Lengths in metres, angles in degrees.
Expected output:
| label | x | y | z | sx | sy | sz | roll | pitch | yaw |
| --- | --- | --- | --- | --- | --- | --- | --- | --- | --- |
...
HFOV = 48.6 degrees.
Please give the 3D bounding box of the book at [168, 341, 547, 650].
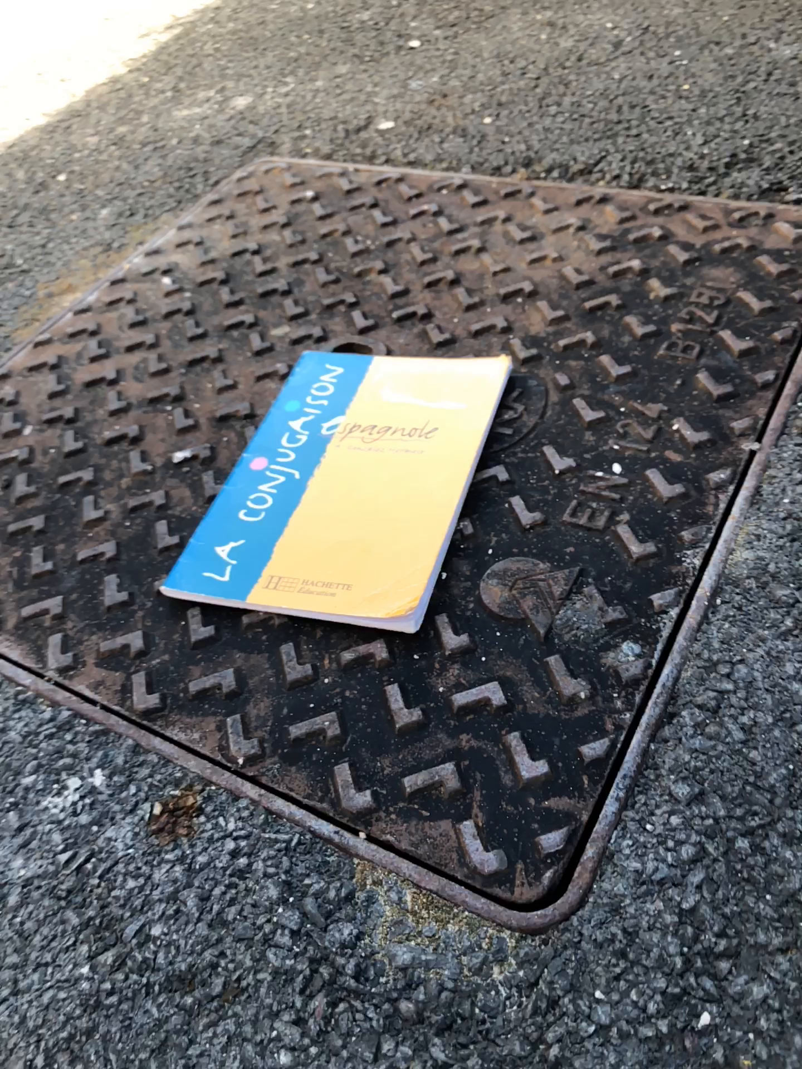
| label | x | y | z | sx | sy | sz | roll | pitch | yaw |
| --- | --- | --- | --- | --- | --- | --- | --- | --- | --- |
| book | -0.013 | -0.033 | 0.455 | 0.140 | 0.017 | 0.188 | 7 | 49 | 18 |
